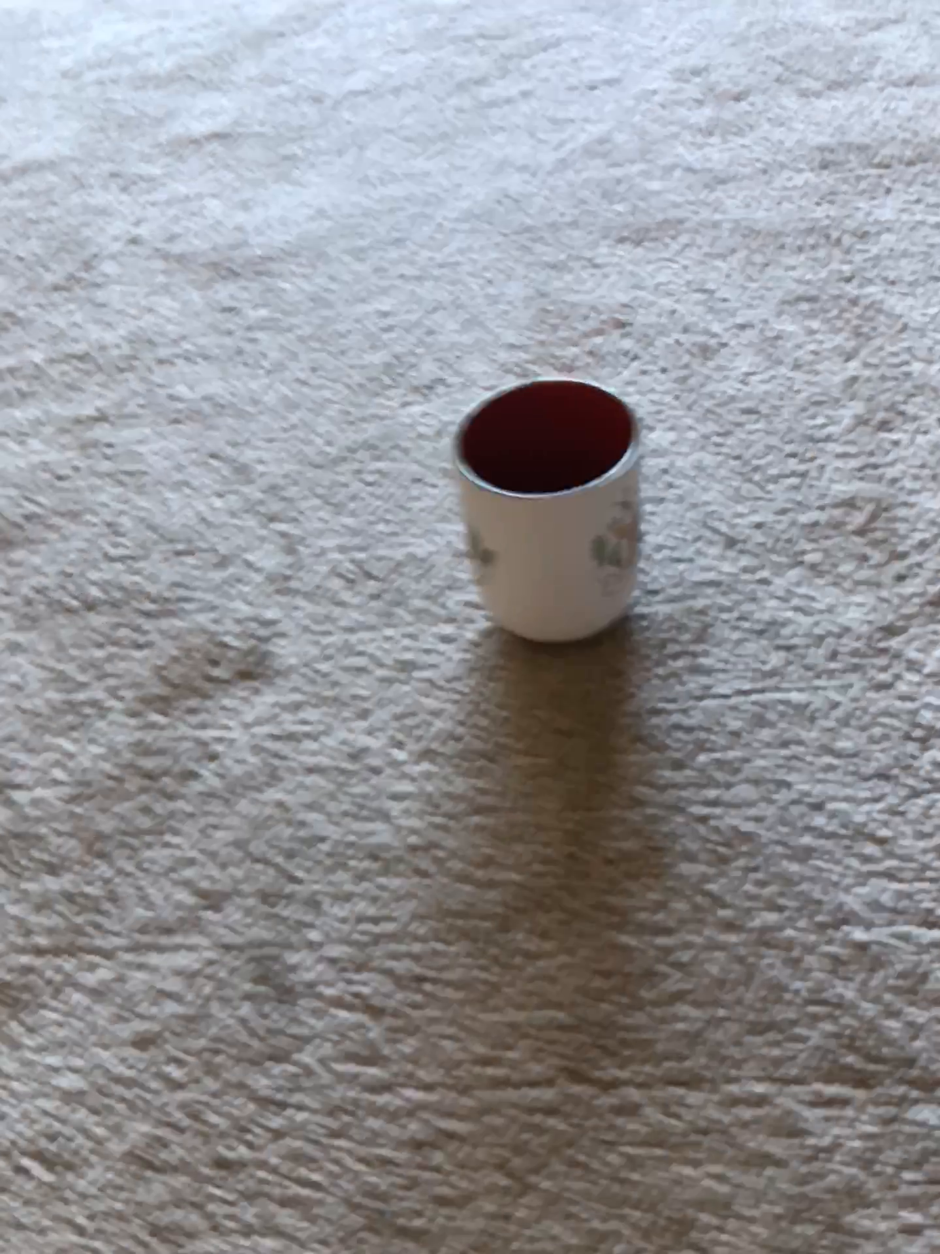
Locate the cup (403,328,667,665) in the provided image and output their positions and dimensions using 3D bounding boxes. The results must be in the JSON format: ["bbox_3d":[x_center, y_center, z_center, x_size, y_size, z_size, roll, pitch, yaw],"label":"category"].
[{"bbox_3d":[0.040,-0.067,0.522,0.100,0.090,0.141,3,50,14],"label":"cup"}]
